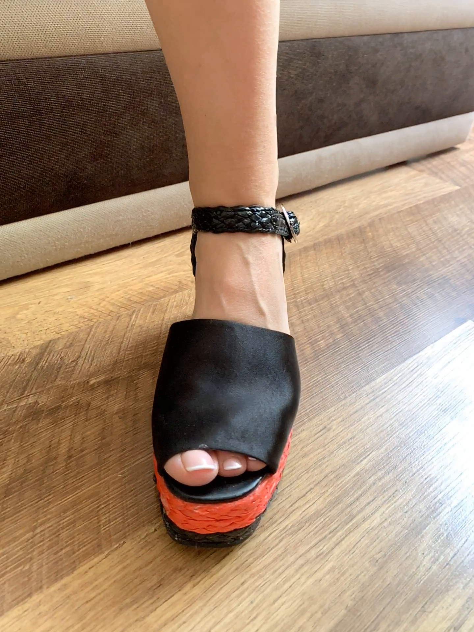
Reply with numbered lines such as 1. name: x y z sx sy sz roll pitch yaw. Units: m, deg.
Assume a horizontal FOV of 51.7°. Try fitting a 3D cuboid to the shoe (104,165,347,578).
1. shoe: -0.005 0.011 0.312 0.089 0.124 0.241 4 37 -1
